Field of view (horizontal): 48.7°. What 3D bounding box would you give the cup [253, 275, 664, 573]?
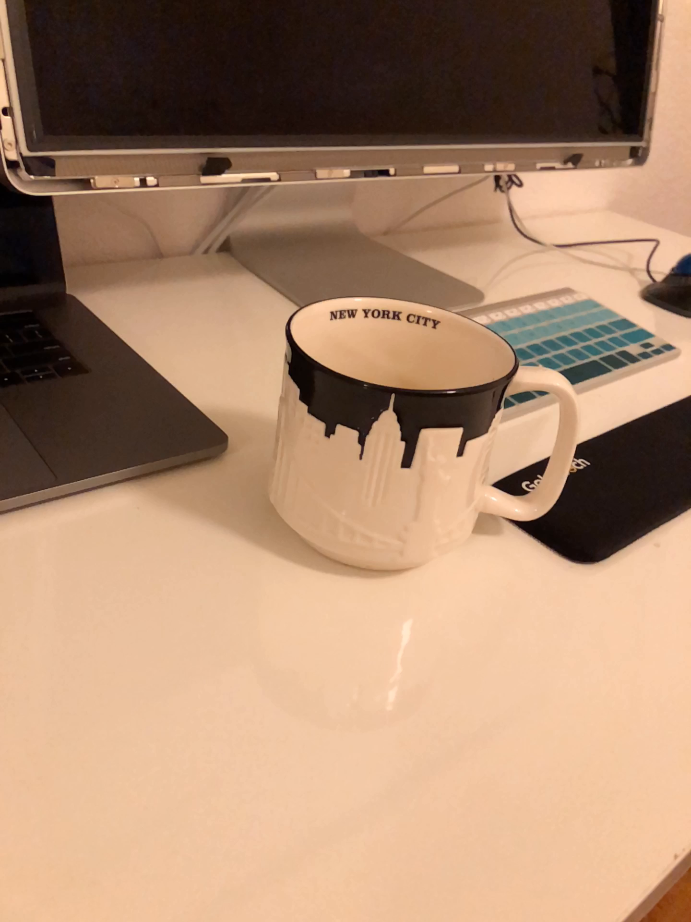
[{"bbox_3d":[0.039,-0.019,0.357,0.150,0.089,0.111,1,32,-12],"label":"cup"}]
